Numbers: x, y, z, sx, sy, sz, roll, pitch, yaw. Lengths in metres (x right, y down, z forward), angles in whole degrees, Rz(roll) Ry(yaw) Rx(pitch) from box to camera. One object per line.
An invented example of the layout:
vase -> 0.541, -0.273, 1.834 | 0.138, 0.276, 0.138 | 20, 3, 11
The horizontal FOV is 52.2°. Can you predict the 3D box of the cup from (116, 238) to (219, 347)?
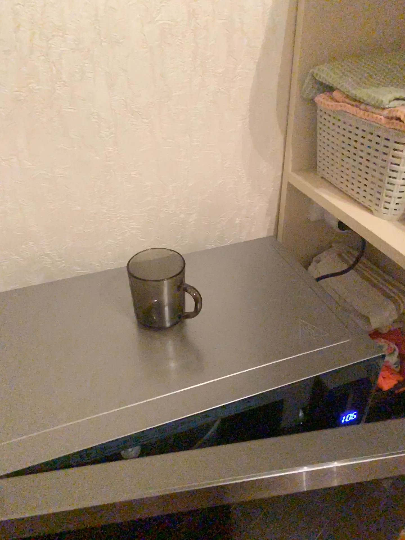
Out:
cup -> -0.040, 0.026, 0.536 | 0.102, 0.094, 0.078 | 12, 37, 19
